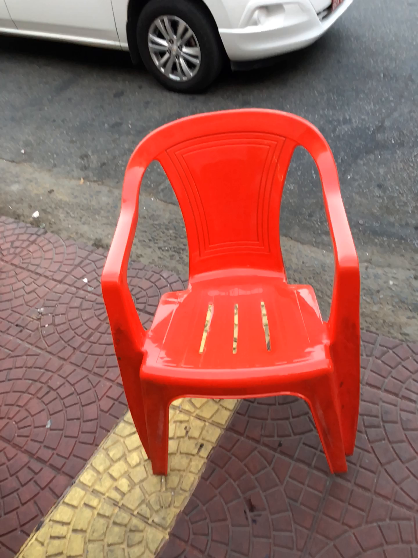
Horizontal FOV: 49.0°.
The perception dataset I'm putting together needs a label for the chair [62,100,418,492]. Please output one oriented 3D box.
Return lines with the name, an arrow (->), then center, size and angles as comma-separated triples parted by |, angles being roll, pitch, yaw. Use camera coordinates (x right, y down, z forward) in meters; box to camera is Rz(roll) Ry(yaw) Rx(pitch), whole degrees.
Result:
chair -> 0.106, 0.080, 1.134 | 0.570, 0.795, 0.543 | -2, 43, 5
